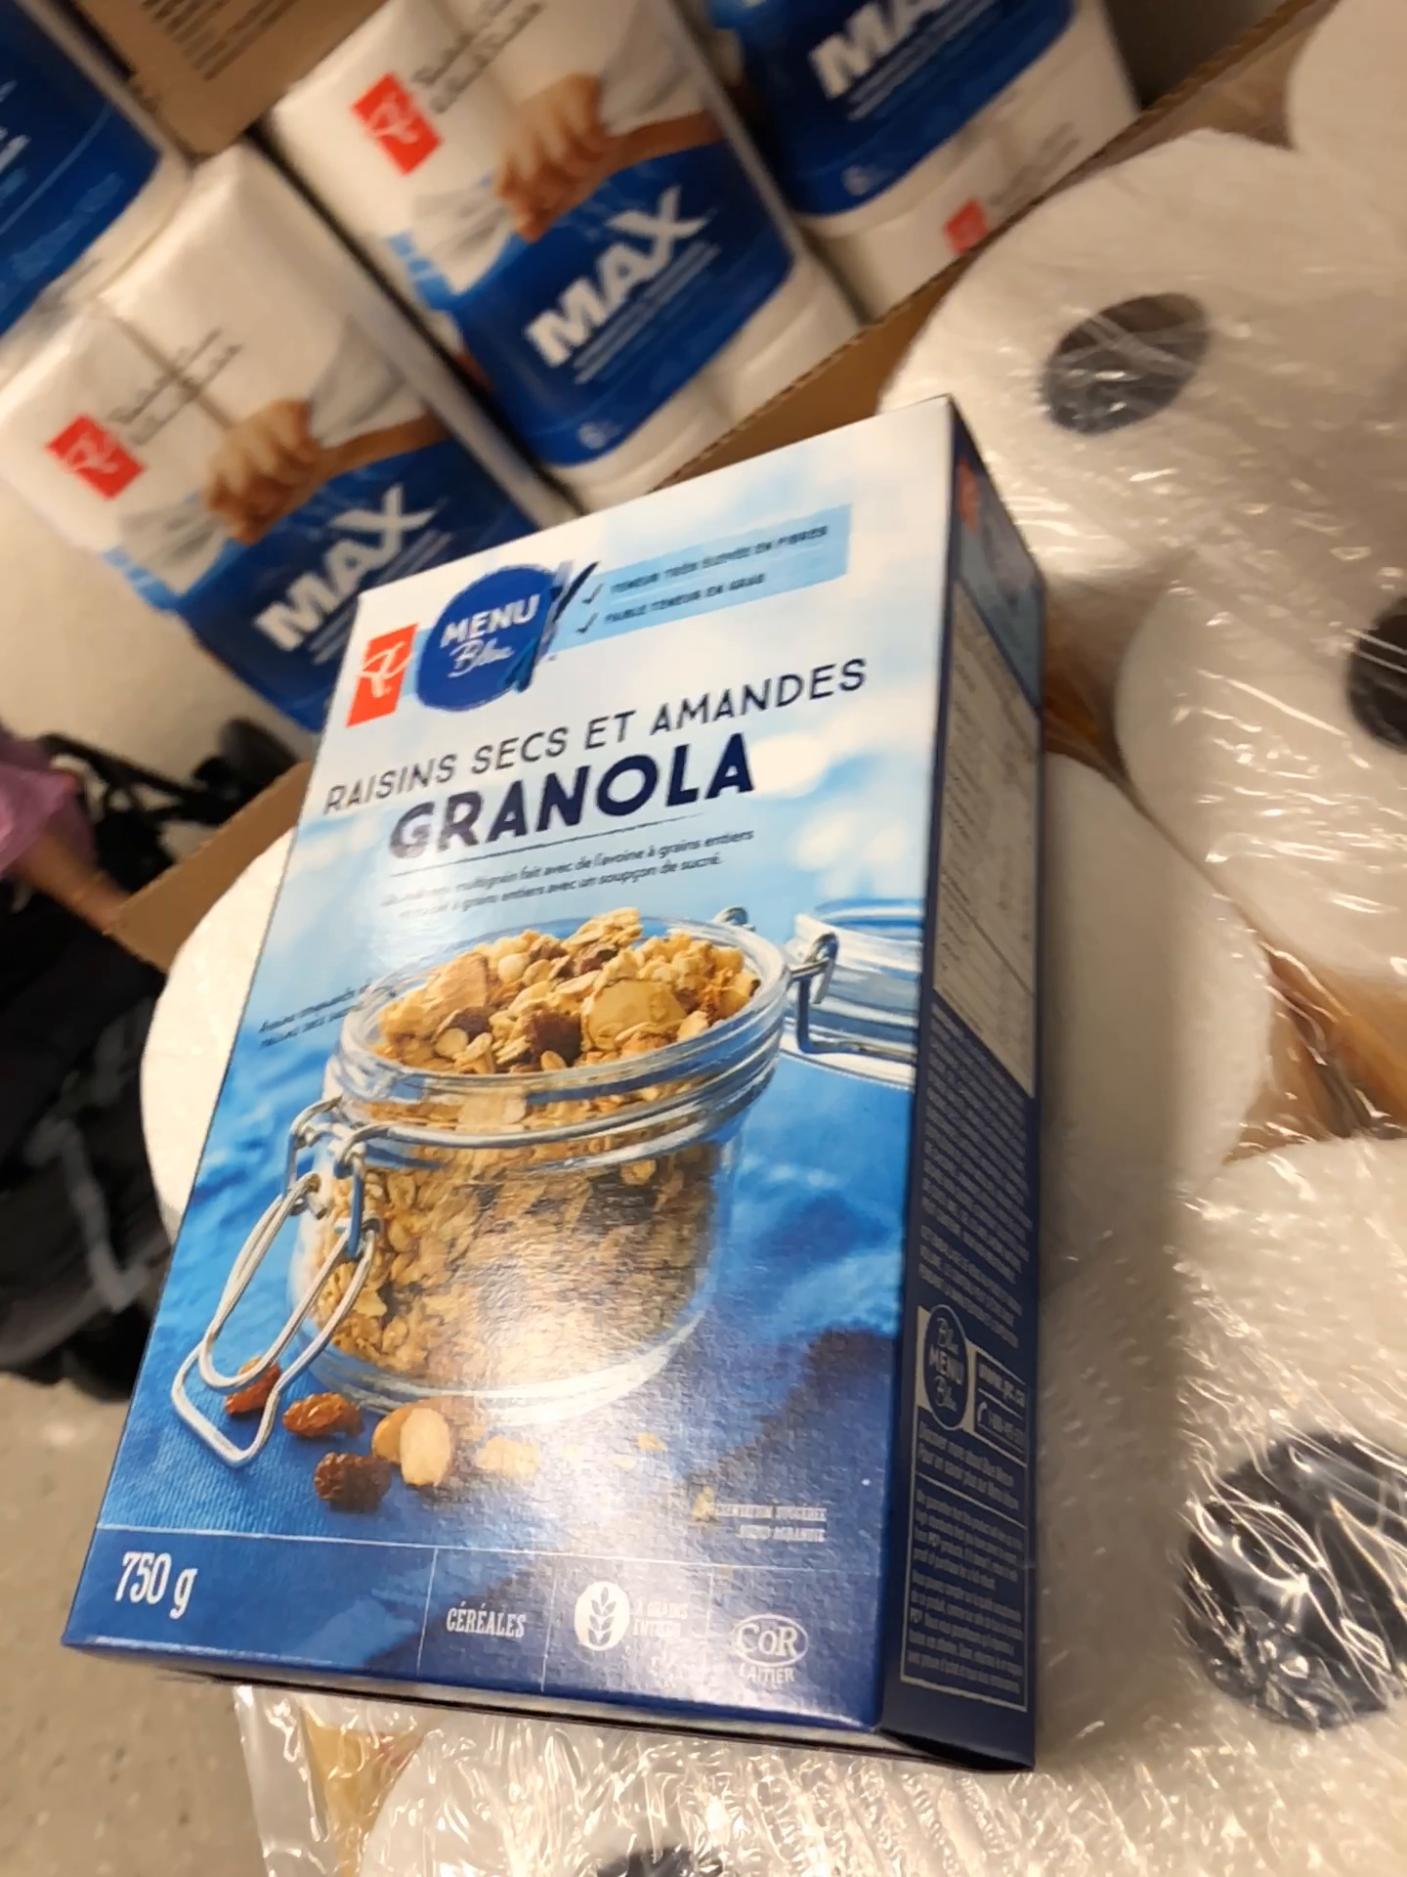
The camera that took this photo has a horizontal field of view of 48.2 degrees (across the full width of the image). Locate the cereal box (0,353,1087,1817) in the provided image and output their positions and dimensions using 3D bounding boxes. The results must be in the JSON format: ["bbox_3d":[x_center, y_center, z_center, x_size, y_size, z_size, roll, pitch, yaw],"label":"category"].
[{"bbox_3d":[-0.018,0.019,0.314,0.171,0.060,0.250,-9,57,29],"label":"cereal box"}]
